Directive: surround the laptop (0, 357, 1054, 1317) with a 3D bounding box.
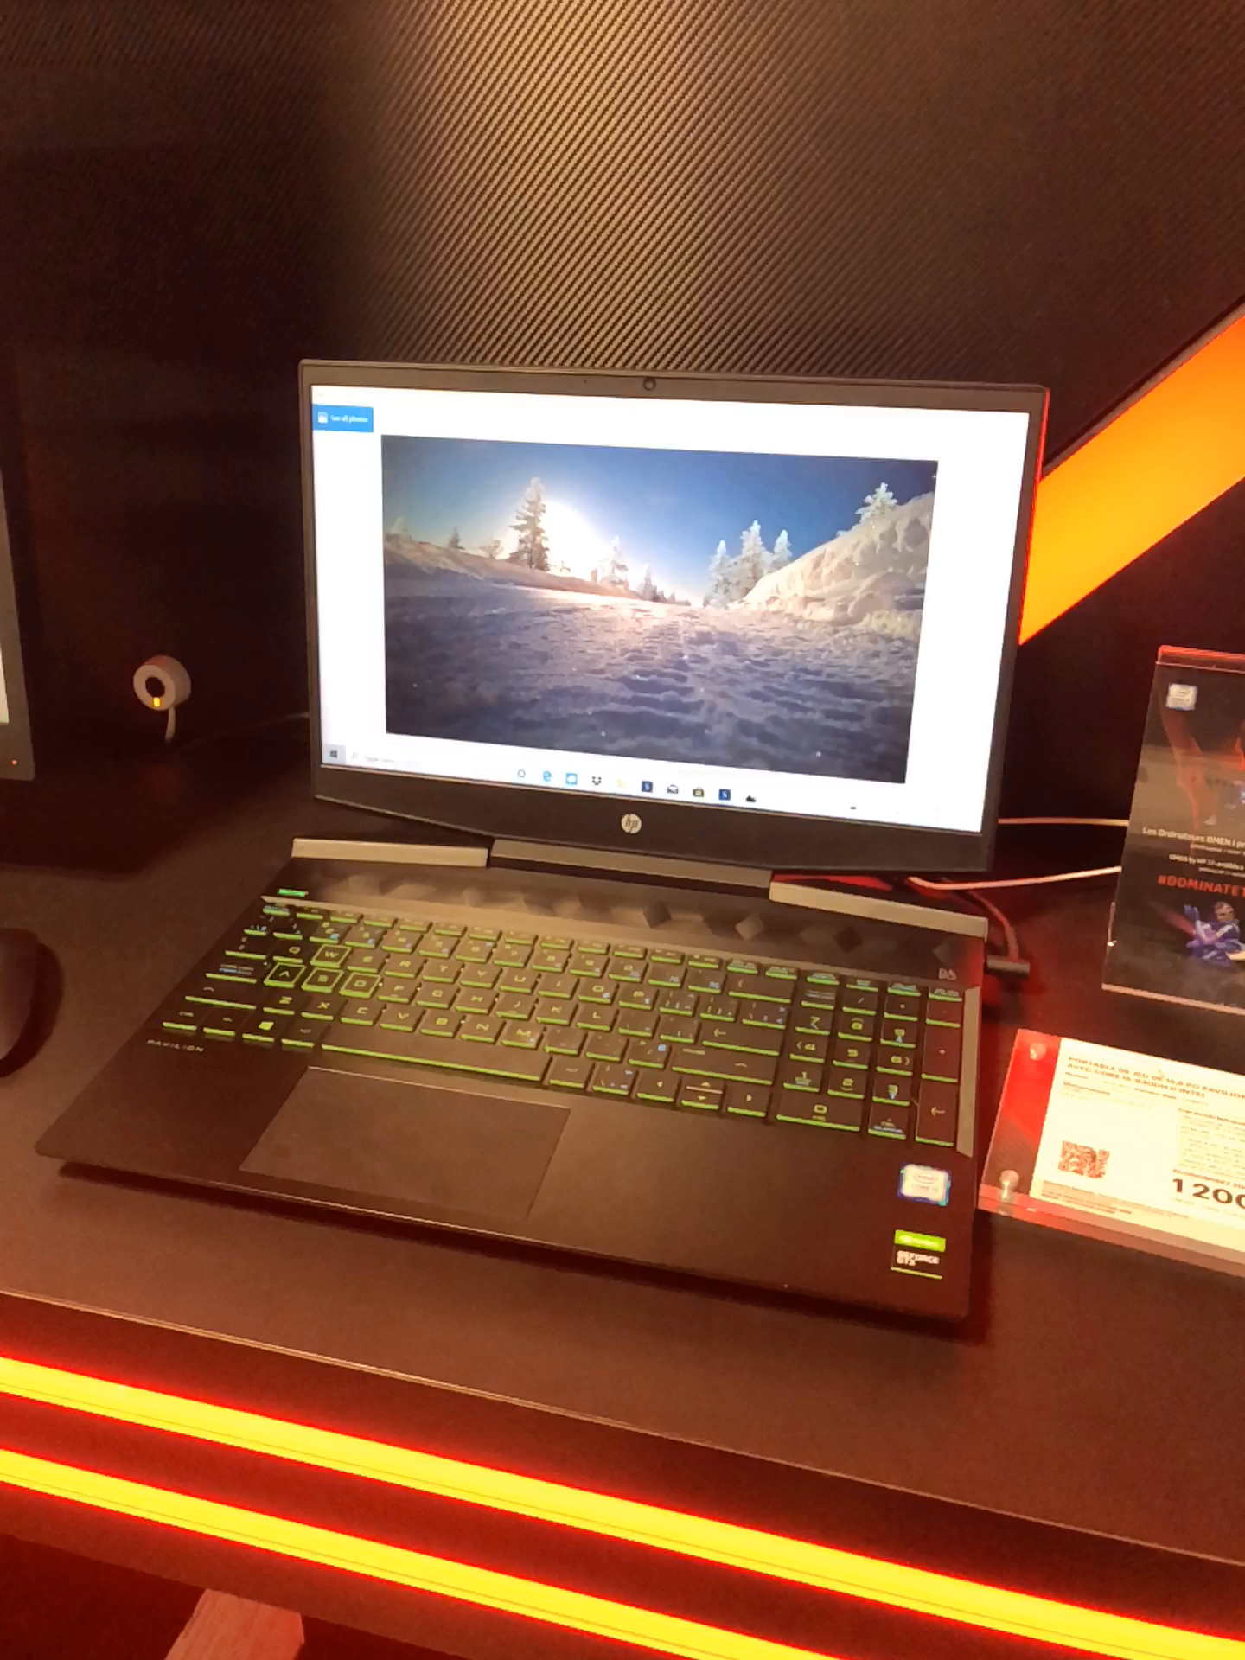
[{"bbox_3d":[-0.019,-0.041,0.577,0.355,0.240,0.315,6,29,14],"label":"laptop"}]
